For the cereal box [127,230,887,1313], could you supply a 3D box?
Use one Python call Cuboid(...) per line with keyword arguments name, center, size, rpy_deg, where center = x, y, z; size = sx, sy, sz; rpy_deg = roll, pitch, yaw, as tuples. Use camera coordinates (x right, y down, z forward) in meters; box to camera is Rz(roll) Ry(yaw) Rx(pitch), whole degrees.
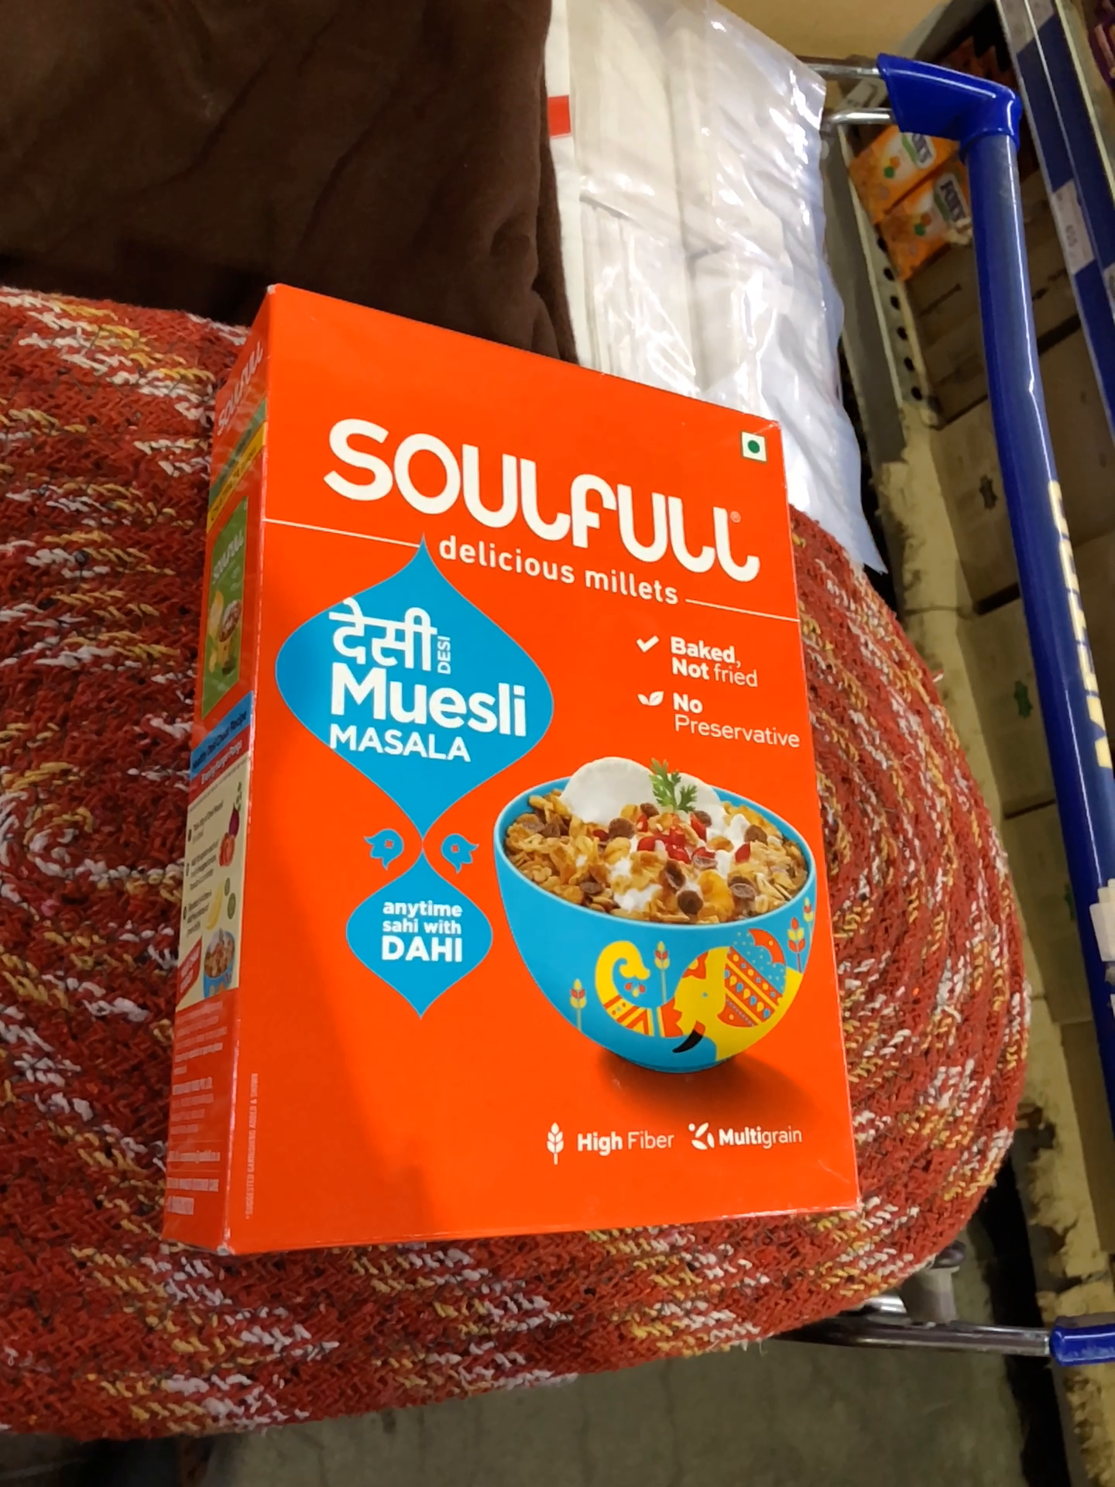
Cuboid(name="cereal box", center=(-0.015, 0.005, 0.349), size=(0.180, 0.060, 0.260), rpy_deg=(6, 70, -26))
